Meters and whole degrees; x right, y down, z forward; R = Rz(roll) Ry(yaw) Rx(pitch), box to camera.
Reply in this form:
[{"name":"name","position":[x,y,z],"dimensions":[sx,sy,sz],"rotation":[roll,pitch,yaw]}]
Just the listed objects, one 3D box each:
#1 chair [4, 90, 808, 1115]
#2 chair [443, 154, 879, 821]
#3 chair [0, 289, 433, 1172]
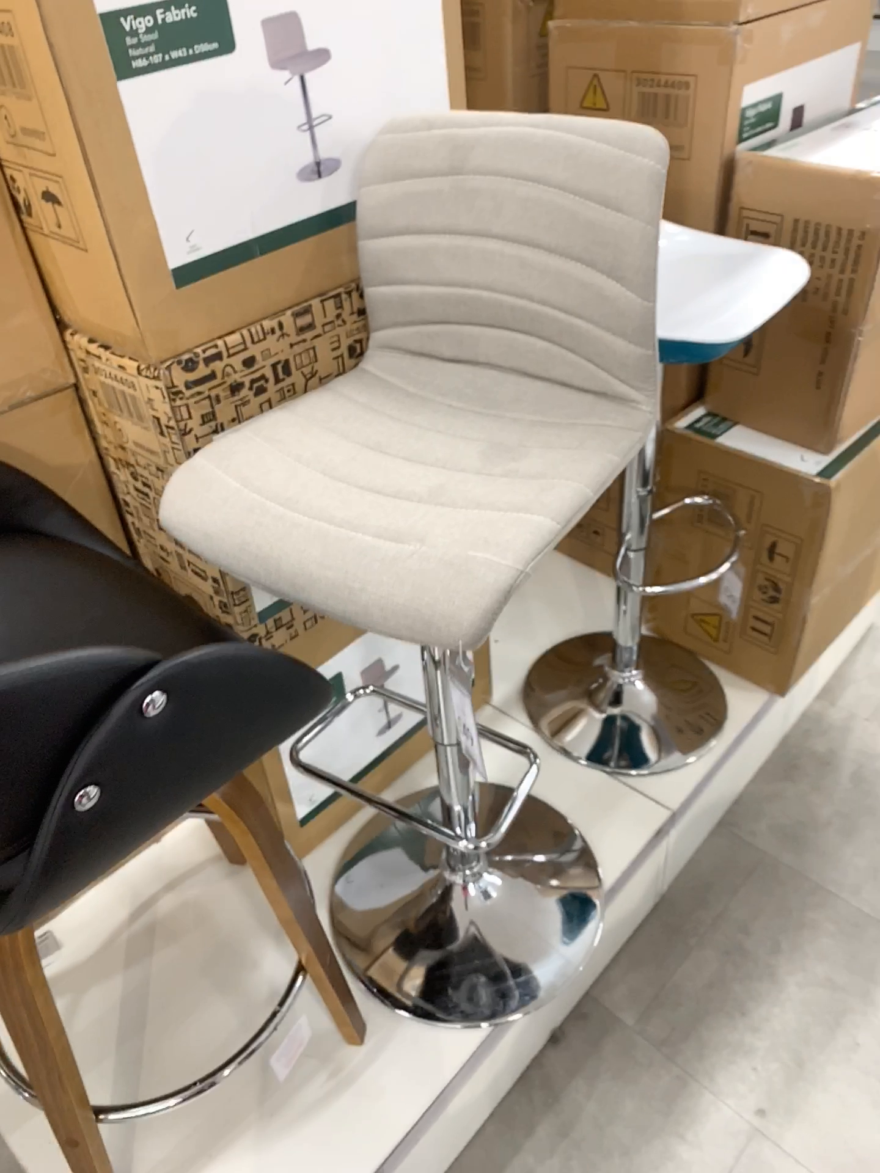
[{"name":"chair","position":[0.017,0.029,1.063],"dimensions":[0.466,0.984,0.510],"rotation":[23,45,32]},{"name":"chair","position":[0.307,-0.140,1.361],"dimensions":[0.389,0.825,0.406],"rotation":[23,45,32]},{"name":"chair","position":[-0.398,0.227,0.998],"dimensions":[0.537,0.865,0.490],"rotation":[28,48,36]}]
